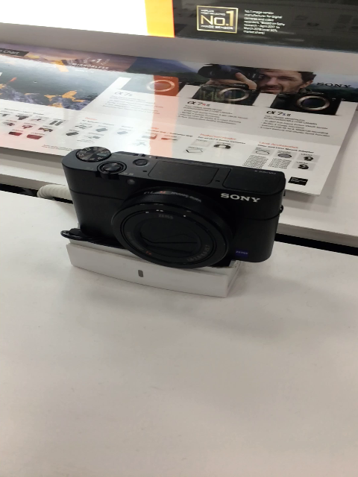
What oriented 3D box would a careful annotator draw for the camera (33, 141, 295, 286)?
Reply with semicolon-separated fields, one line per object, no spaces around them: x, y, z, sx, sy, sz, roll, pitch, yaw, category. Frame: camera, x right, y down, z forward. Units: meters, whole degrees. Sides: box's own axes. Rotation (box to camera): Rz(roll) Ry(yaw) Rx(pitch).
-0.006;-0.014;0.253;0.118;0.056;0.037;10;50;12;camera
